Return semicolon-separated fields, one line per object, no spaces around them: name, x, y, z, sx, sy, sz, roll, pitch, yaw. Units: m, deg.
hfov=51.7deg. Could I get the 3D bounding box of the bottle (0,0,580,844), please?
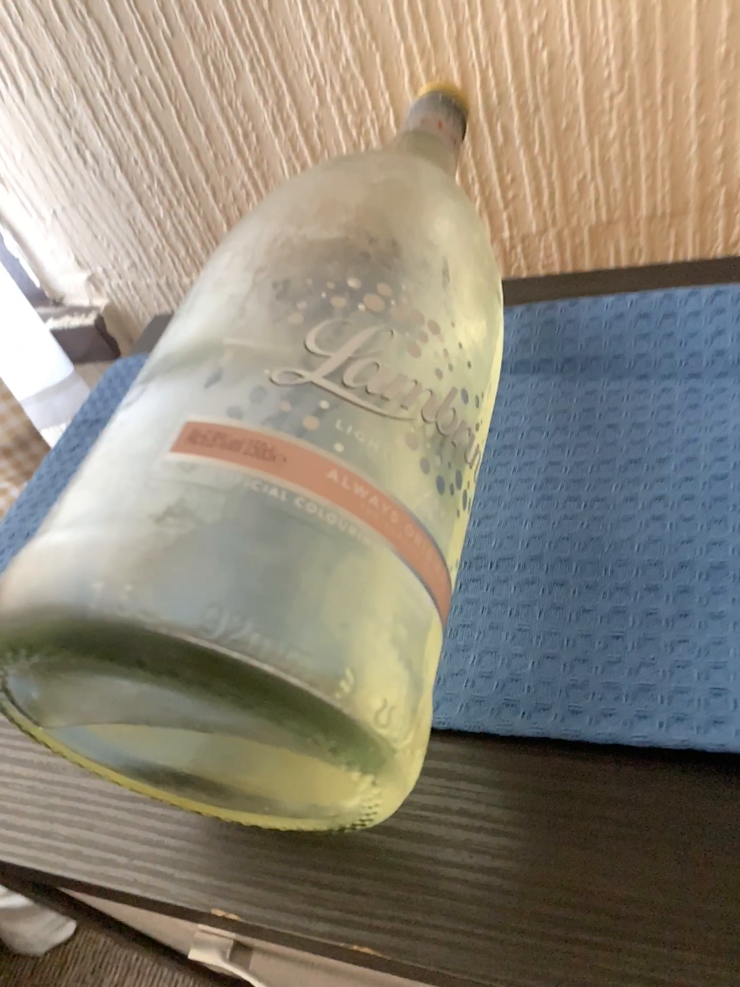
bottle;-0.010;-0.064;0.276;0.110;0.119;0.323;-17;41;35
